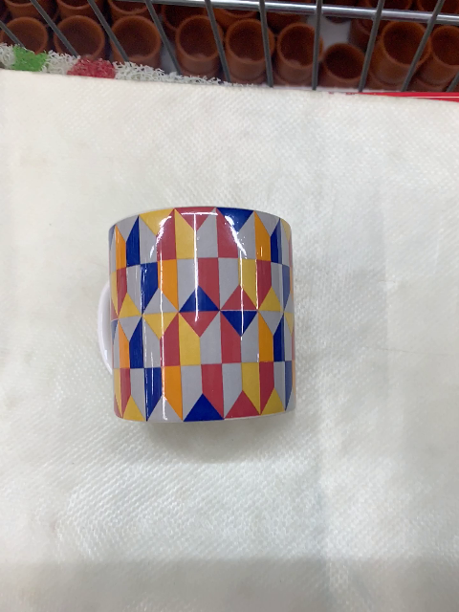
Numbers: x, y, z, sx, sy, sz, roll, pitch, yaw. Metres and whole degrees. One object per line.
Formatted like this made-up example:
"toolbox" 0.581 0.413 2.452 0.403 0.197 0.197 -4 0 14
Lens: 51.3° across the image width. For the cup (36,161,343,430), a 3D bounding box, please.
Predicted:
"cup" -0.017 0.001 0.203 0.100 0.080 0.080 -4 85 35
